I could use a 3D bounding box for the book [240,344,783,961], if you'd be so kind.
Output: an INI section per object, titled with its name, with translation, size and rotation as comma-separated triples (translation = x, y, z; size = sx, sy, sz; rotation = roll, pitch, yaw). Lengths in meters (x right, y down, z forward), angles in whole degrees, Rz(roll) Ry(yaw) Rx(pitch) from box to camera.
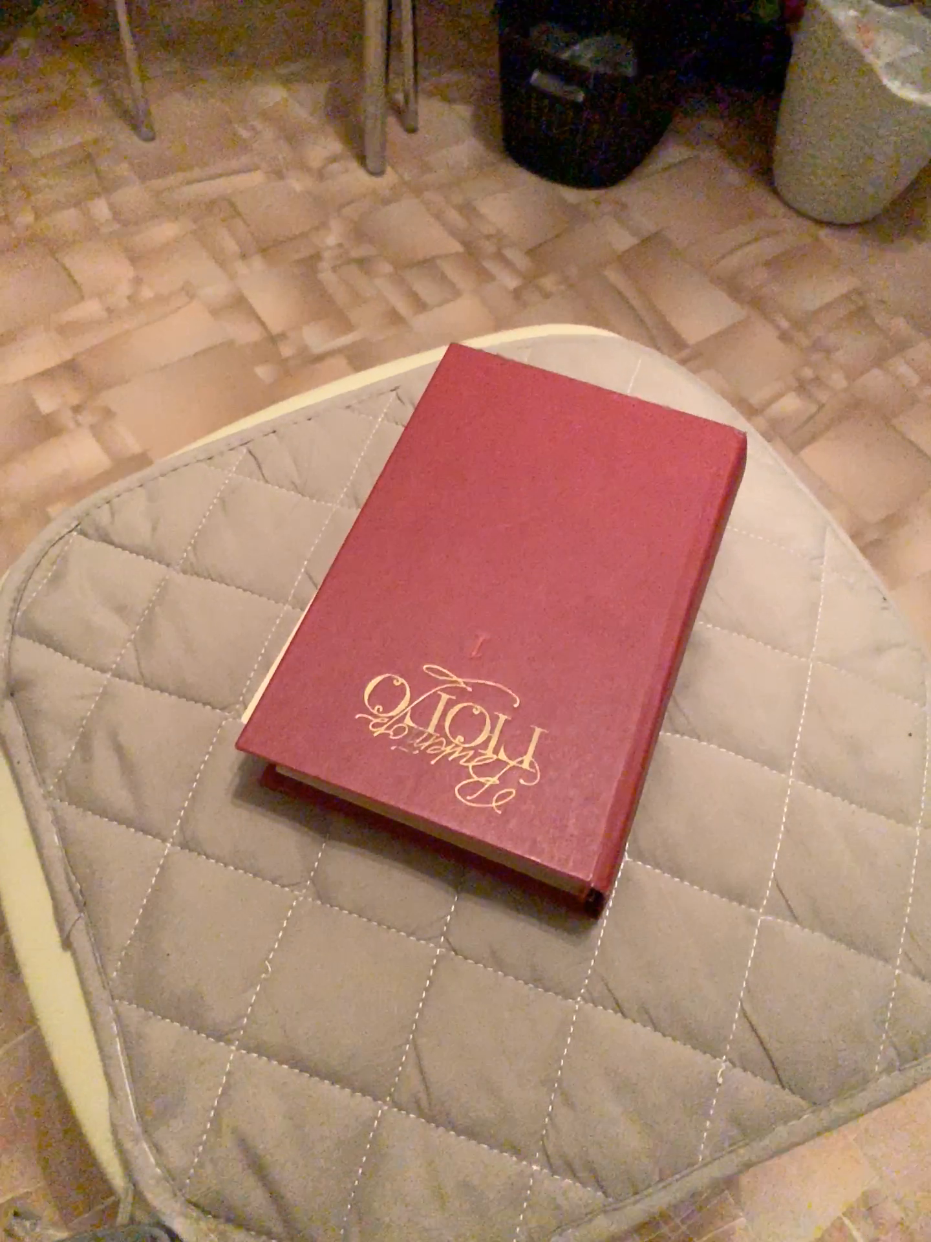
[book]
translation = 0.026, 0.002, 0.371
size = 0.140, 0.060, 0.201
rotation = 20, 61, 7
